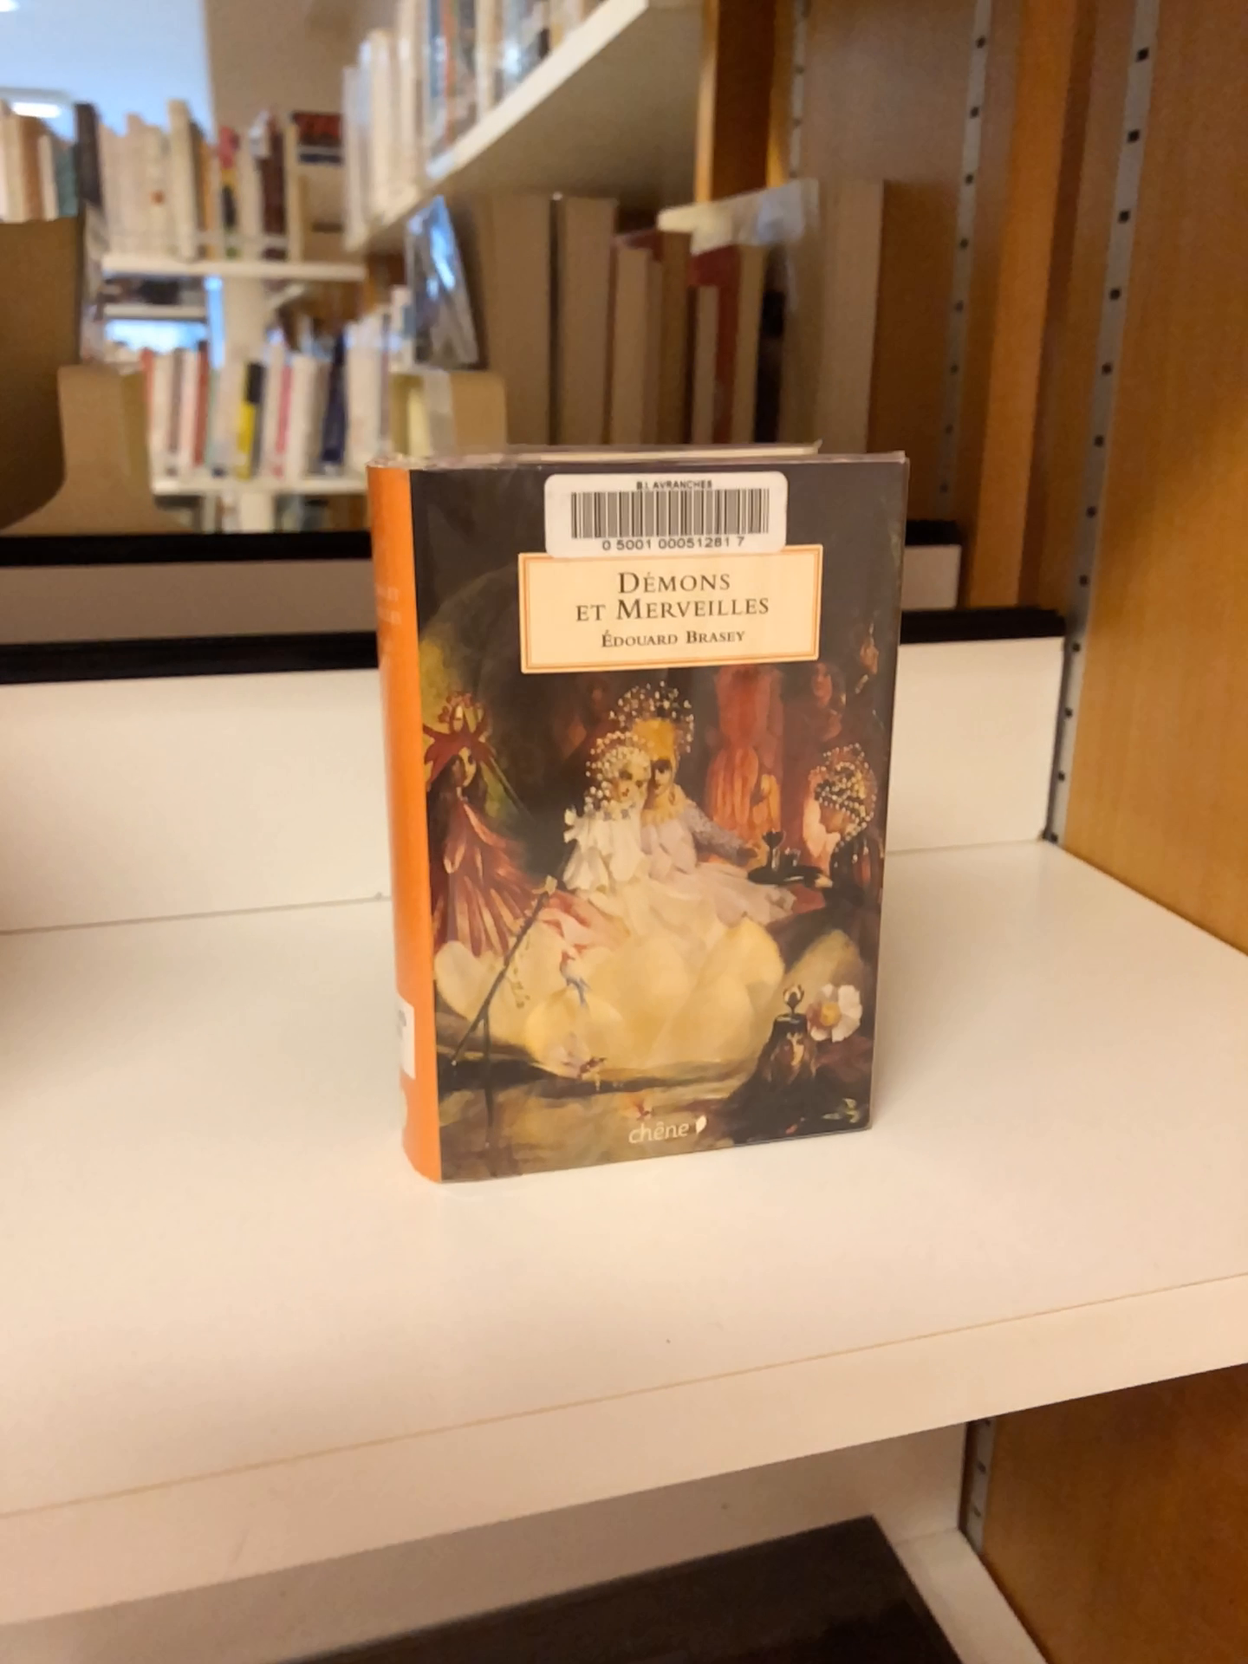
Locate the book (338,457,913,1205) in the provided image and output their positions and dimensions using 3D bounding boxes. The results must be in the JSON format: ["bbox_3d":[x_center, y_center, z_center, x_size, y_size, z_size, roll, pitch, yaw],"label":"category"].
[{"bbox_3d":[-0.002,-0.004,0.315,0.114,0.155,0.047,-4,16,-14],"label":"book"}]
